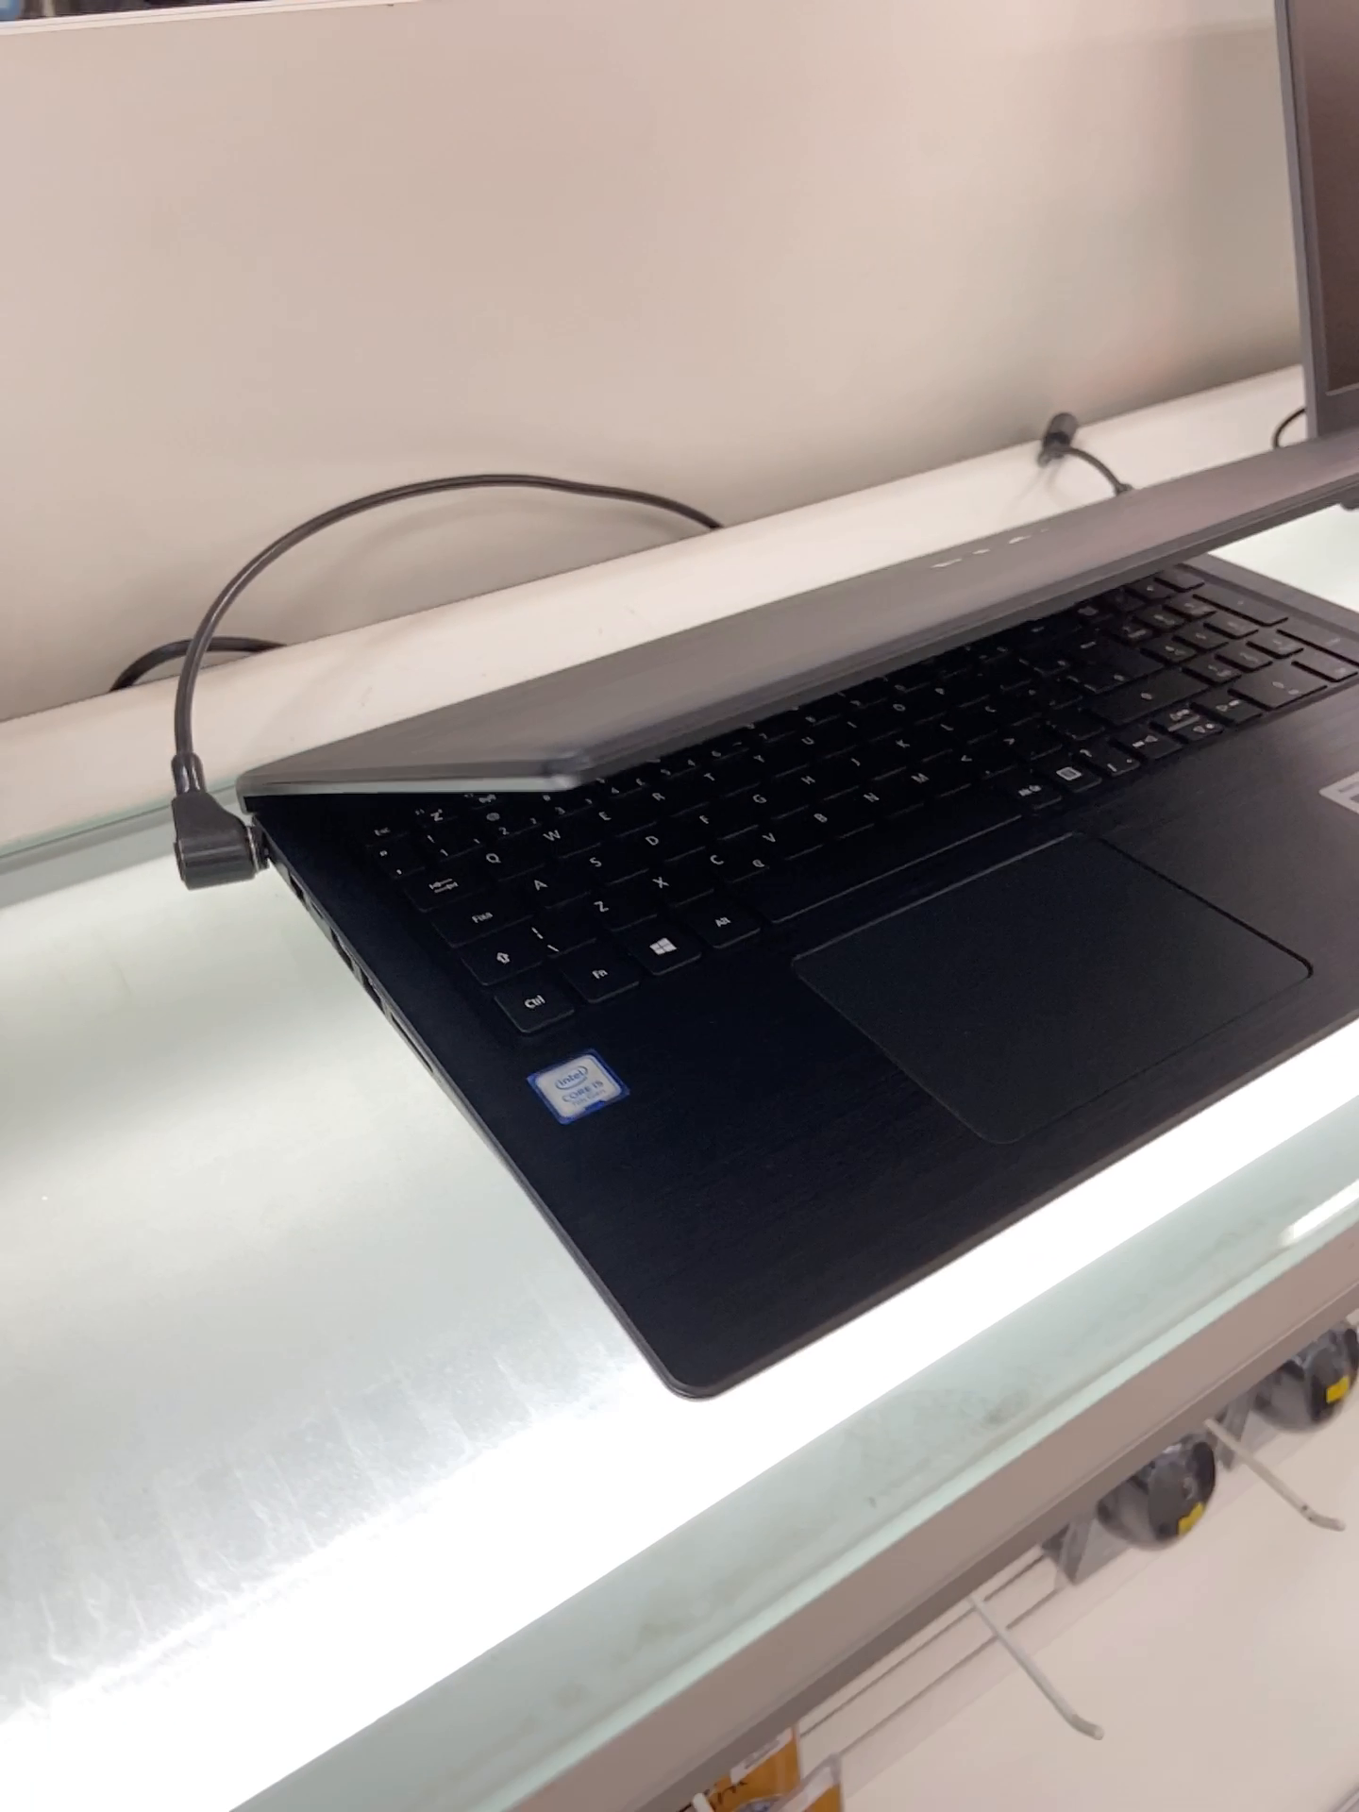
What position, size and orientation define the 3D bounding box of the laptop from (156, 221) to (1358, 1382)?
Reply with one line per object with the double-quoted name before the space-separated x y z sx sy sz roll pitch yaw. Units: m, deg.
"laptop" 0.092 -0.083 0.390 0.382 0.118 0.237 -22 40 -26
